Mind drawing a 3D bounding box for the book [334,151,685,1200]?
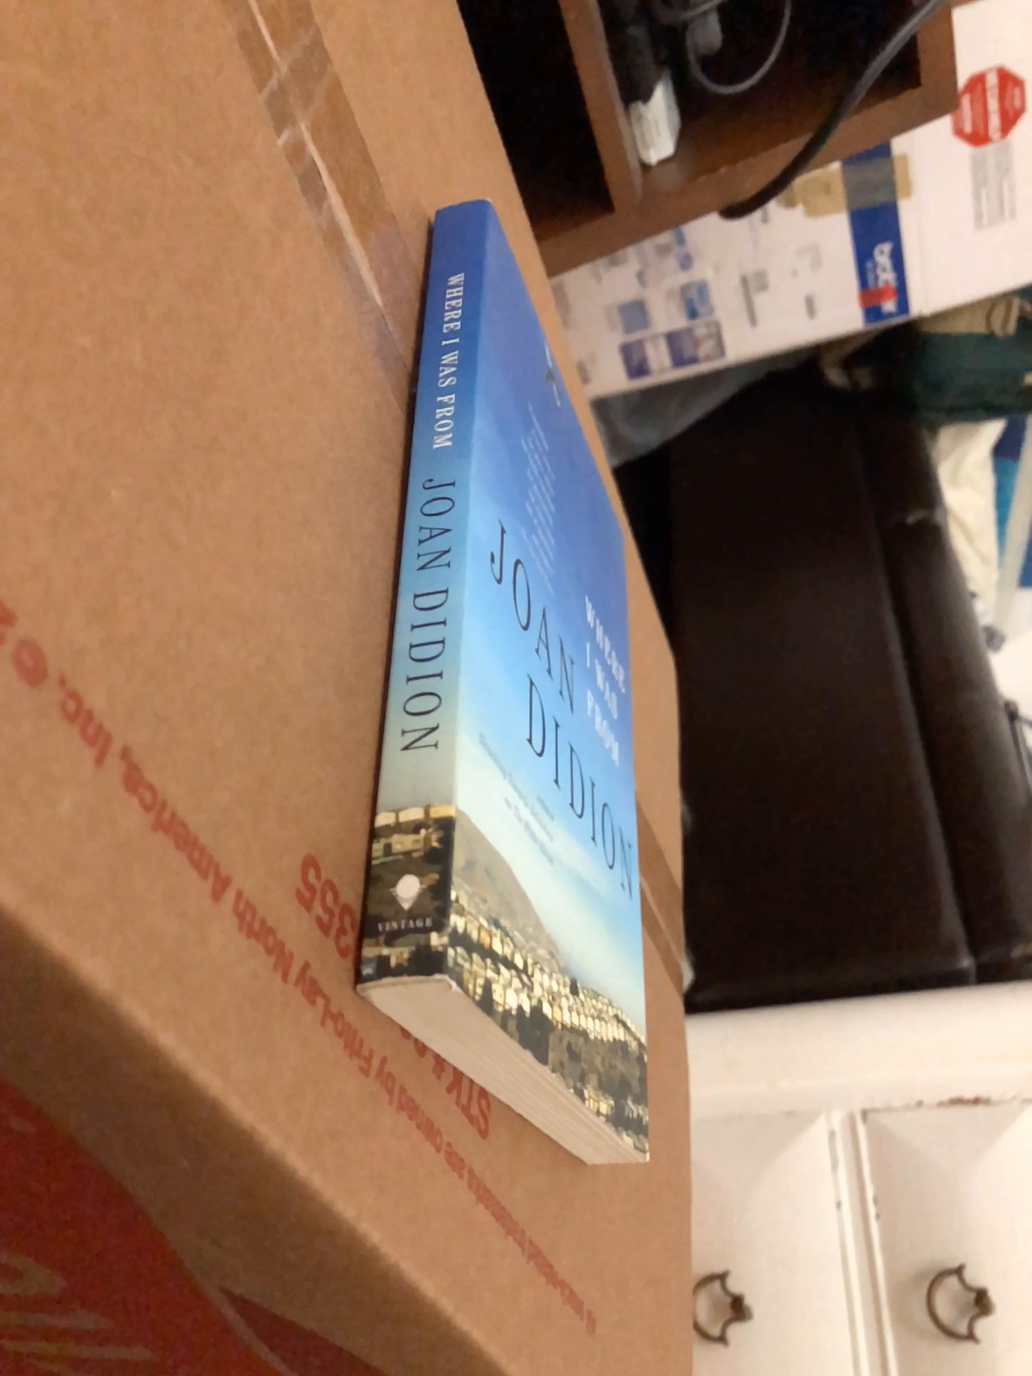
[{"bbox_3d":[0.007,-0.004,0.276,0.140,0.020,0.210,58,26,-51],"label":"book"}]
